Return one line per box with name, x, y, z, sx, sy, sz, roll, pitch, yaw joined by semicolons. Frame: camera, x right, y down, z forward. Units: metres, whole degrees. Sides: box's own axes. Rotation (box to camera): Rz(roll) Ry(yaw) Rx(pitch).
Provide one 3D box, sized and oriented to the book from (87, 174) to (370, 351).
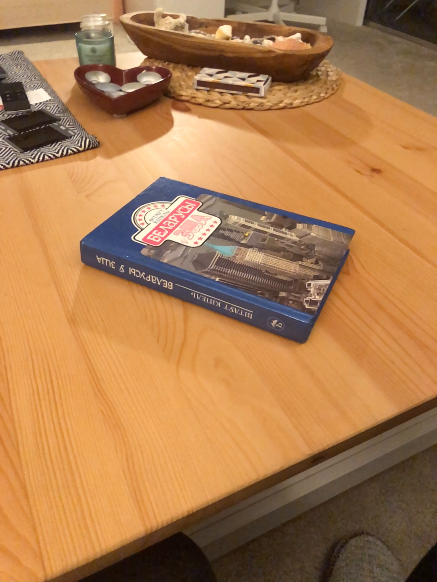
book;0.014;-0.041;0.461;0.224;0.030;0.147;19;43;18
